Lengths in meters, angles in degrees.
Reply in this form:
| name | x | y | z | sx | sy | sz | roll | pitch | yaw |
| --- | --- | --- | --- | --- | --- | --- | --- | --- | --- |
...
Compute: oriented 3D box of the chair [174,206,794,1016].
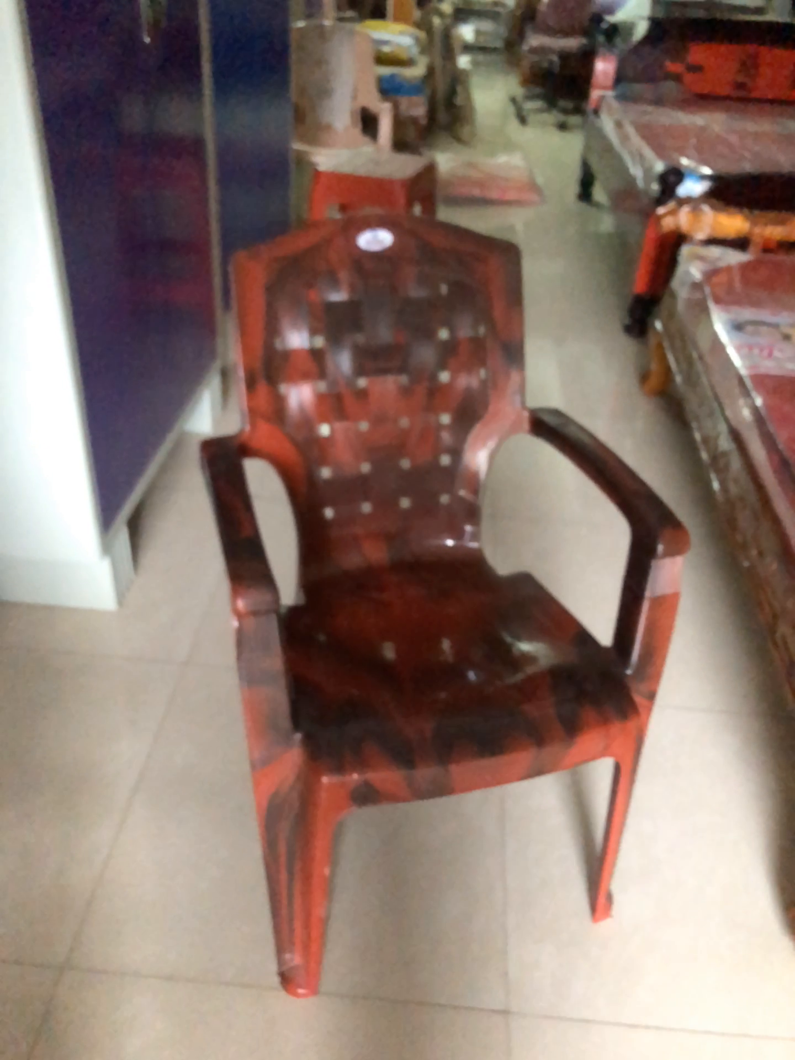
| name | x | y | z | sx | sy | sz | roll | pitch | yaw |
| --- | --- | --- | --- | --- | --- | --- | --- | --- | --- |
| chair | 0.026 | 0.089 | 1.194 | 0.531 | 0.865 | 0.562 | -6 | 35 | -14 |
